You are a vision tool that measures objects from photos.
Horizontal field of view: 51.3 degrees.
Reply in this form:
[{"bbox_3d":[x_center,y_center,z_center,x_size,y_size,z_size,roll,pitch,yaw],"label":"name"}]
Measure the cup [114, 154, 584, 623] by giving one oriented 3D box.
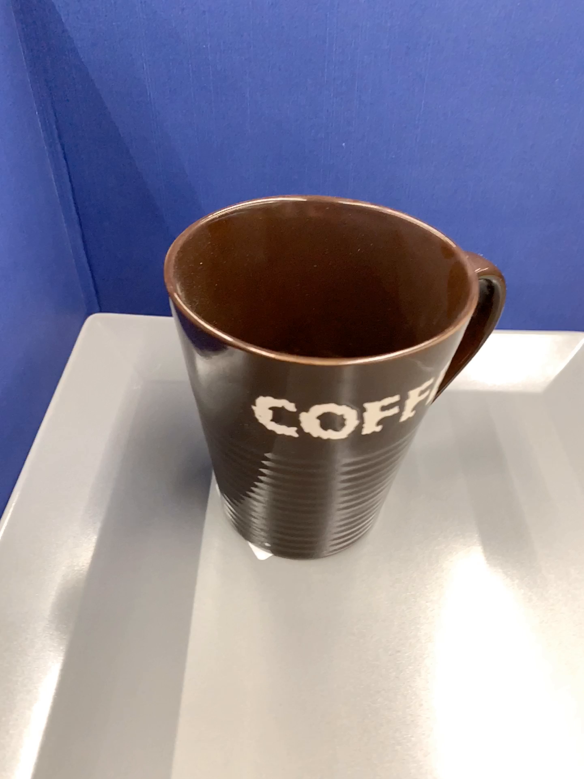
[{"bbox_3d":[0.022,-0.009,0.218,0.128,0.098,0.089,-22,47,-25],"label":"cup"}]
